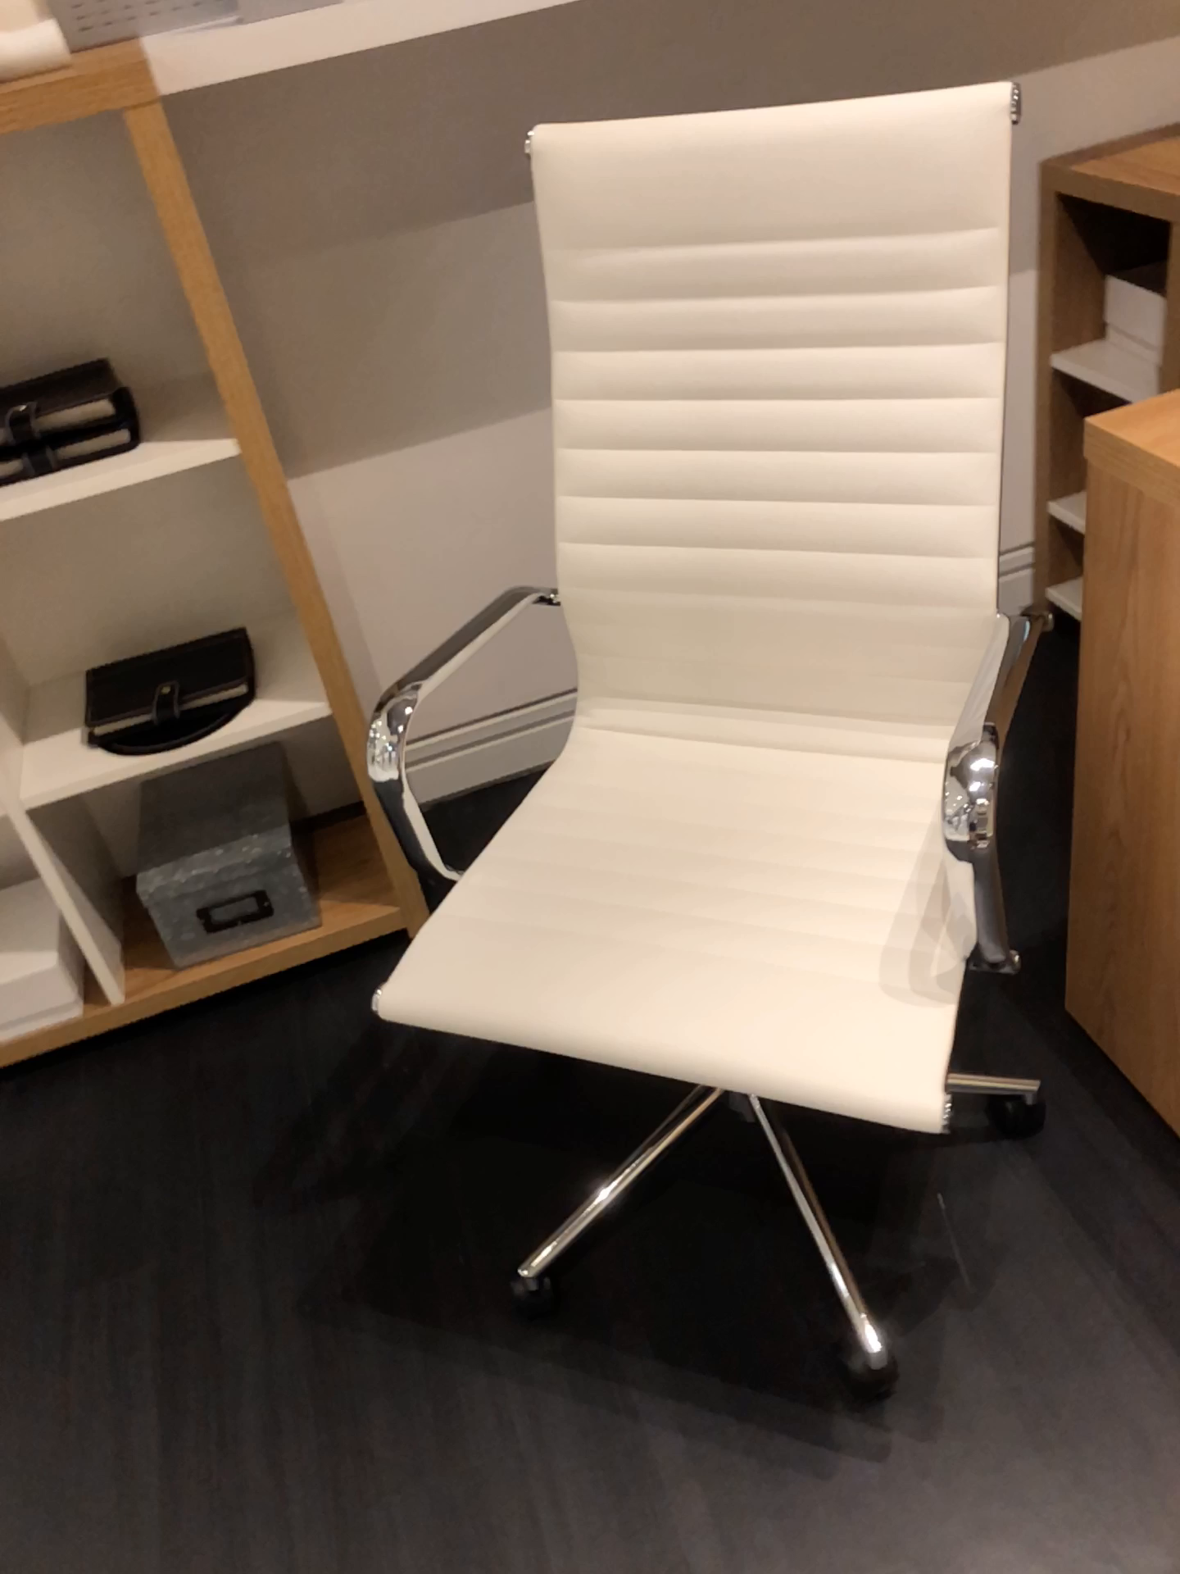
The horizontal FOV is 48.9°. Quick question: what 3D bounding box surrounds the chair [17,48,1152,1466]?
[{"bbox_3d":[0.126,-0.021,1.219,0.631,1.012,0.634,6,39,24],"label":"chair"}]
